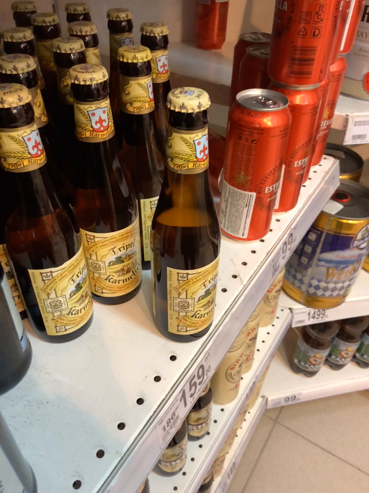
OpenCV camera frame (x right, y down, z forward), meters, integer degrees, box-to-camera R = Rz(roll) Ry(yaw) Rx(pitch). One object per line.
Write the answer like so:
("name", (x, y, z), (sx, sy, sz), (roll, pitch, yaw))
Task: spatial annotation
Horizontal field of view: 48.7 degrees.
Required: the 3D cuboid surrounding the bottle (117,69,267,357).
("bottle", (0.002, -0.016, 0.335), (0.070, 0.219, 0.070), (2, 40, -1))
